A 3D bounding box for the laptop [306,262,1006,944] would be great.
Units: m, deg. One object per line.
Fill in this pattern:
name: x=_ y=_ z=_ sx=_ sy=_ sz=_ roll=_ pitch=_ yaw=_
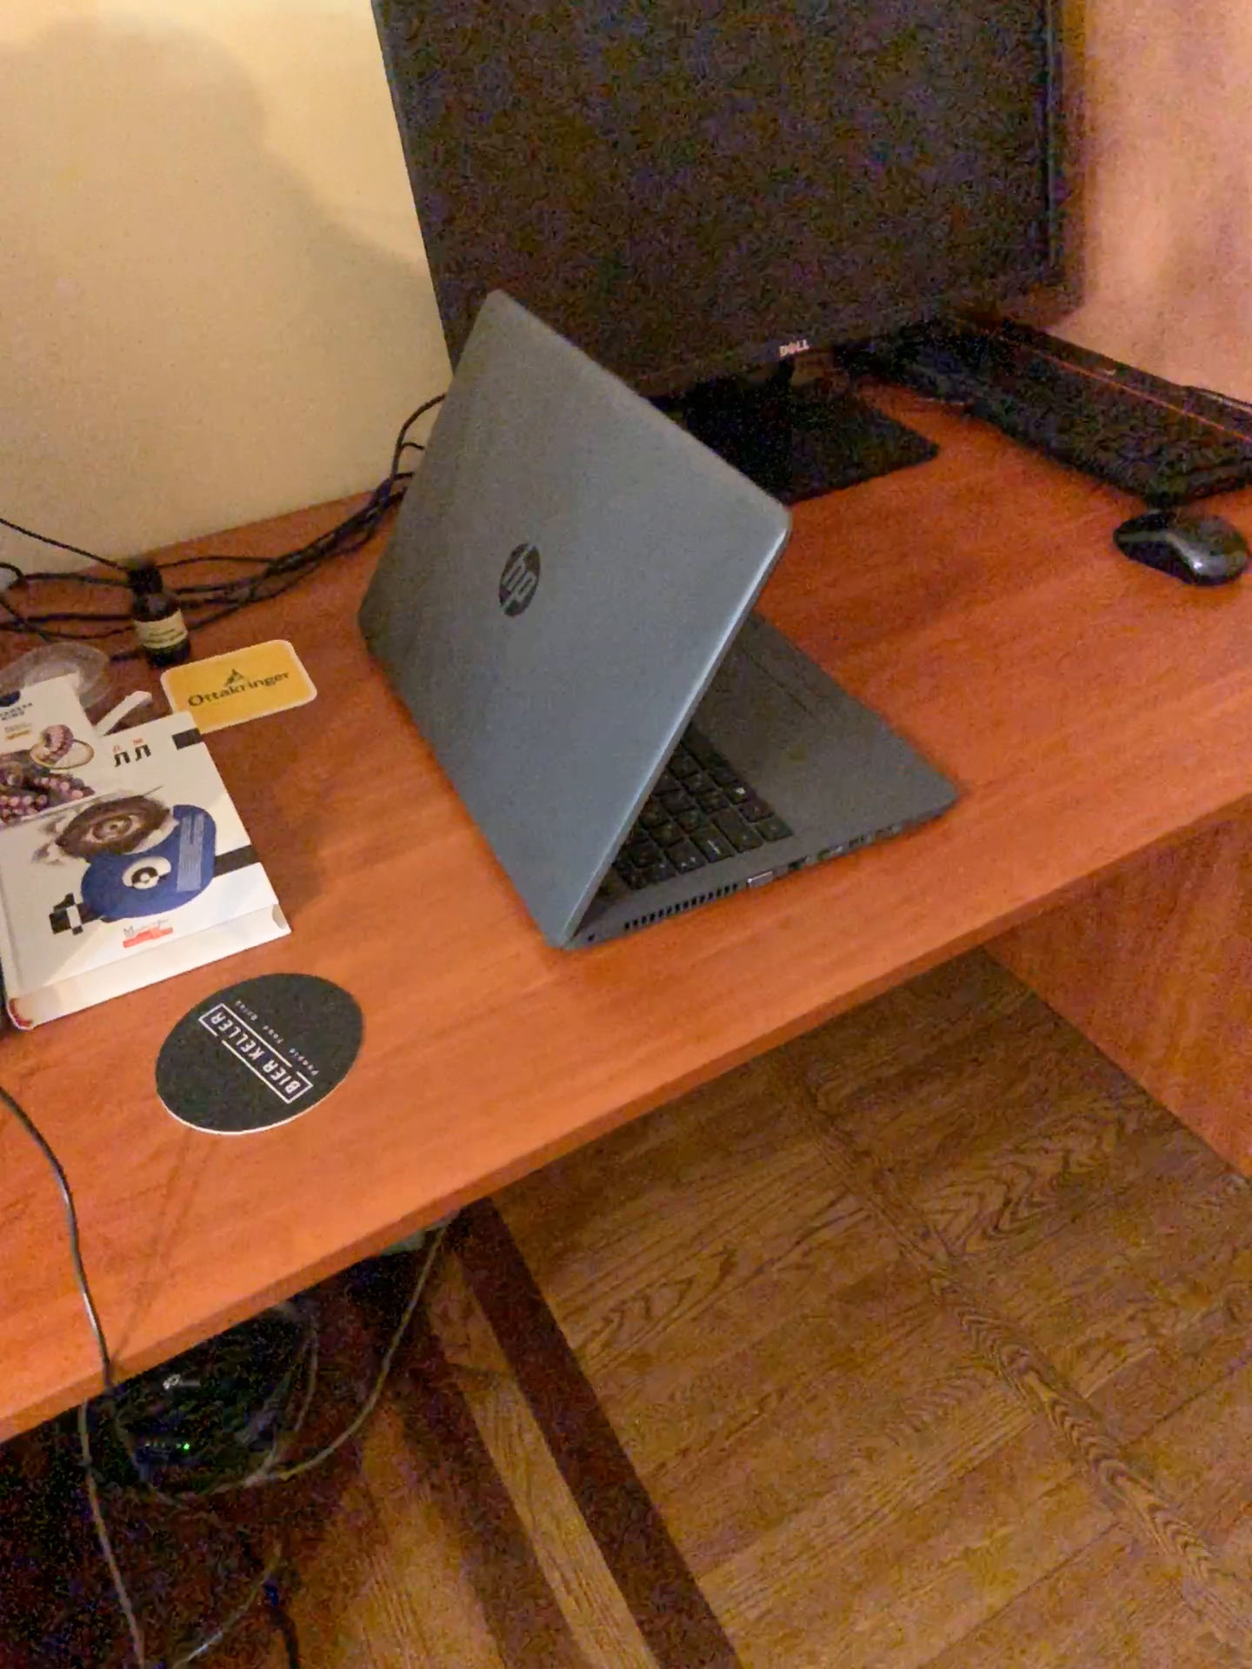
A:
laptop: x=-0.004 y=-0.168 z=0.768 sx=0.248 sy=0.207 sz=0.377 roll=-19 pitch=42 yaw=-17
